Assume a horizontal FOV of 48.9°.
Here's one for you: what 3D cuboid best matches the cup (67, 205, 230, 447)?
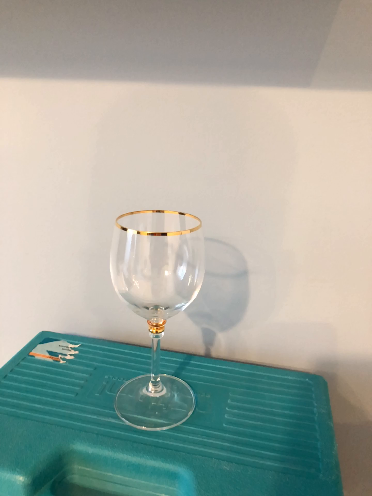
[{"bbox_3d":[-0.025,0.057,0.348,0.100,0.159,0.101,2,19,-1],"label":"cup"}]
